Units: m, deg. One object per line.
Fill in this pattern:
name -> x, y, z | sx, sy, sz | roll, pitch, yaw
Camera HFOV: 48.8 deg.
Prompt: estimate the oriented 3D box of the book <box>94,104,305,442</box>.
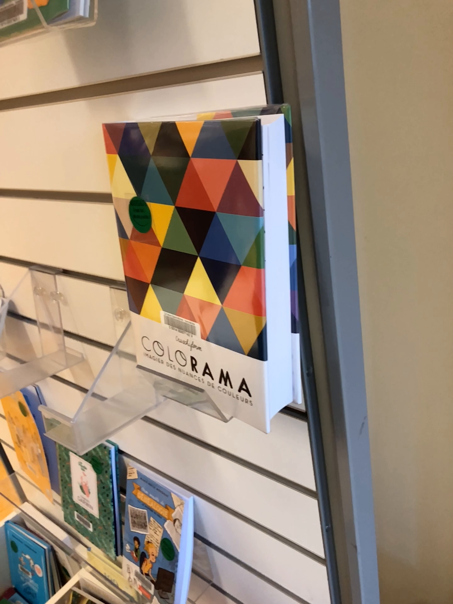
book -> -0.022, -0.029, 0.401 | 0.046, 0.231, 0.170 | -23, 27, -40
